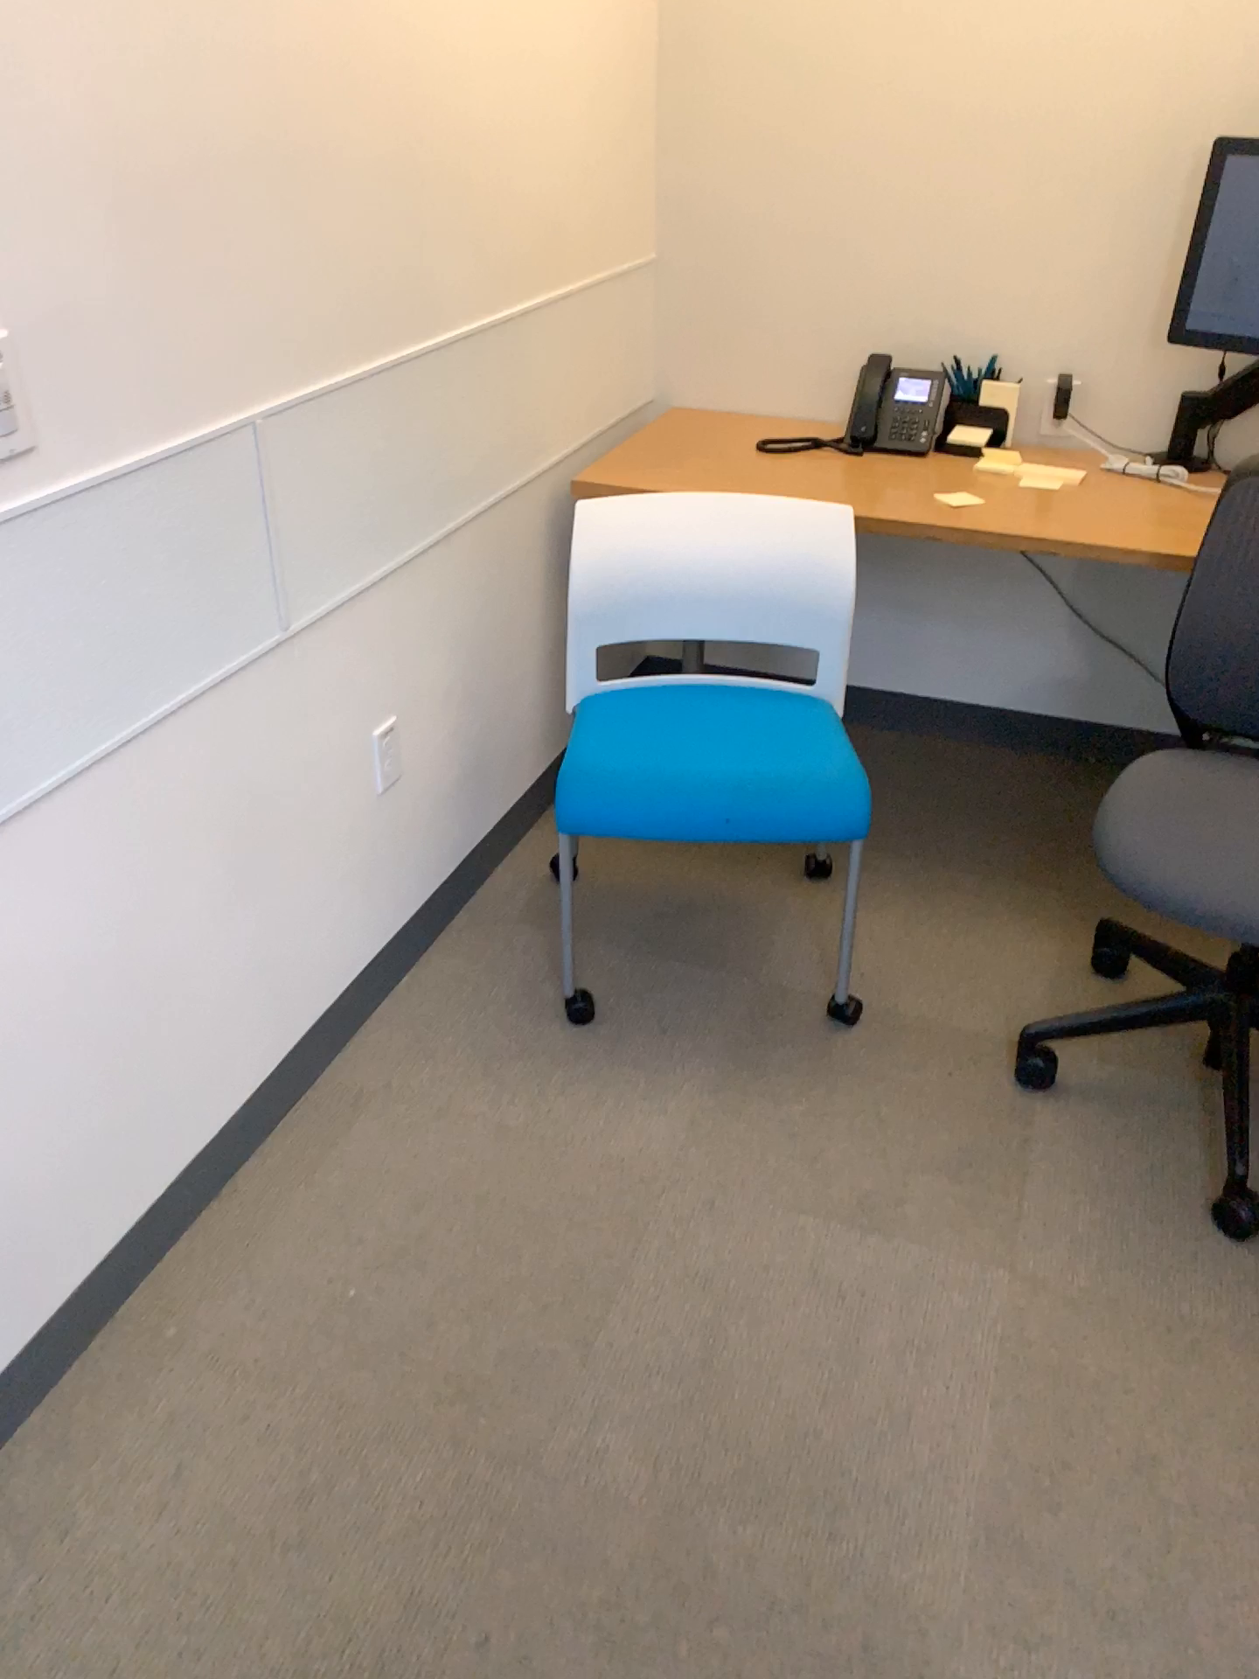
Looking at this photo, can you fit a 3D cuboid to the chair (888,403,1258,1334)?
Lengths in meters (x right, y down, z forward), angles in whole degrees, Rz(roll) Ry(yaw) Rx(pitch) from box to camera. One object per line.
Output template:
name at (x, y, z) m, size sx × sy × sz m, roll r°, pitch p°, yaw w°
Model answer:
chair at (0.994, -0.064, 1.950) m, size 0.752 × 0.885 × 0.973 m, roll 20°, pitch 36°, yaw 29°

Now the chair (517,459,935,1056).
chair at (0.128, -0.176, 2.143) m, size 0.530 × 0.686 × 0.794 m, roll 2°, pitch 31°, yaw 1°
